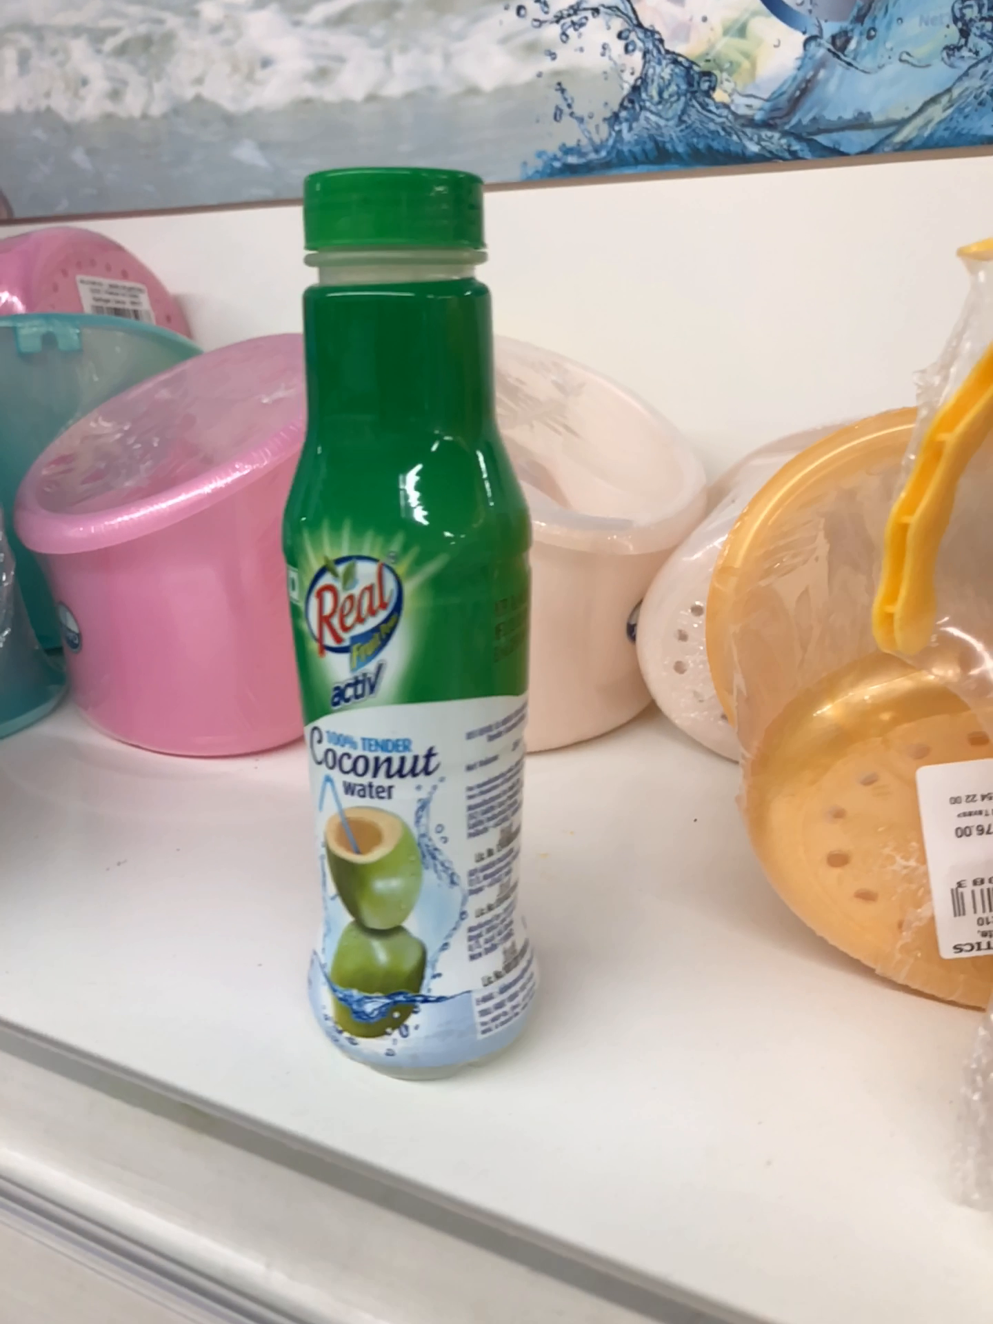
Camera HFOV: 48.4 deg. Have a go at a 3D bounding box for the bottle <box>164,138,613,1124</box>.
[{"bbox_3d":[-0.014,-0.005,0.229,0.060,0.179,0.060,-1,19,0],"label":"bottle"}]
